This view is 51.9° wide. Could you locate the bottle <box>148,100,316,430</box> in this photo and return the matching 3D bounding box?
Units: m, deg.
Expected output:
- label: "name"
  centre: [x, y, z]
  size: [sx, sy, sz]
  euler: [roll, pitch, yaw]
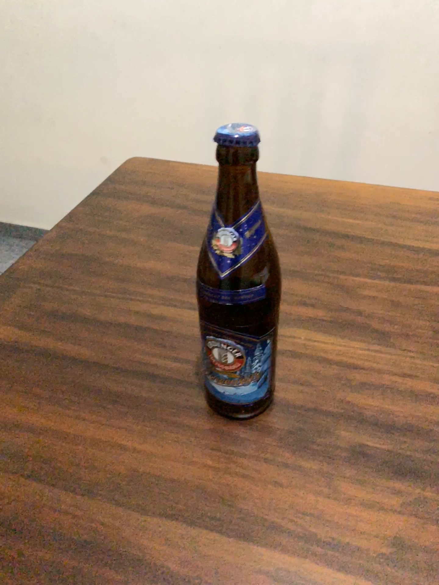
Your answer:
- label: "bottle"
  centre: [0.013, -0.004, 0.344]
  size: [0.080, 0.249, 0.070]
  euler: [12, 43, 15]
